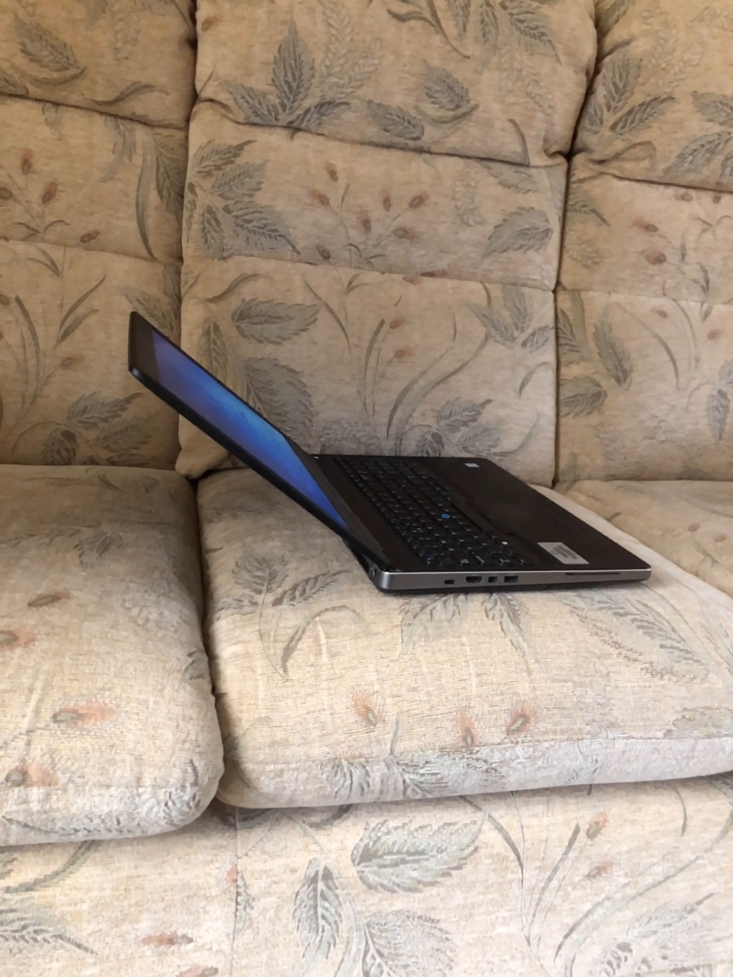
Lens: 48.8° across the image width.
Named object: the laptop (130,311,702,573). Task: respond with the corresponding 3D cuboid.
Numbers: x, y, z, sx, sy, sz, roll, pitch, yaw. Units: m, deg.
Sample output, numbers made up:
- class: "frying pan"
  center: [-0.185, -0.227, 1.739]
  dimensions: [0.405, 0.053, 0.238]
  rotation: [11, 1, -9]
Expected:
- class: "laptop"
  center: [0.001, -0.059, 0.800]
  dimensions: [0.451, 0.157, 0.357]
  rotation: [1, 19, -16]
